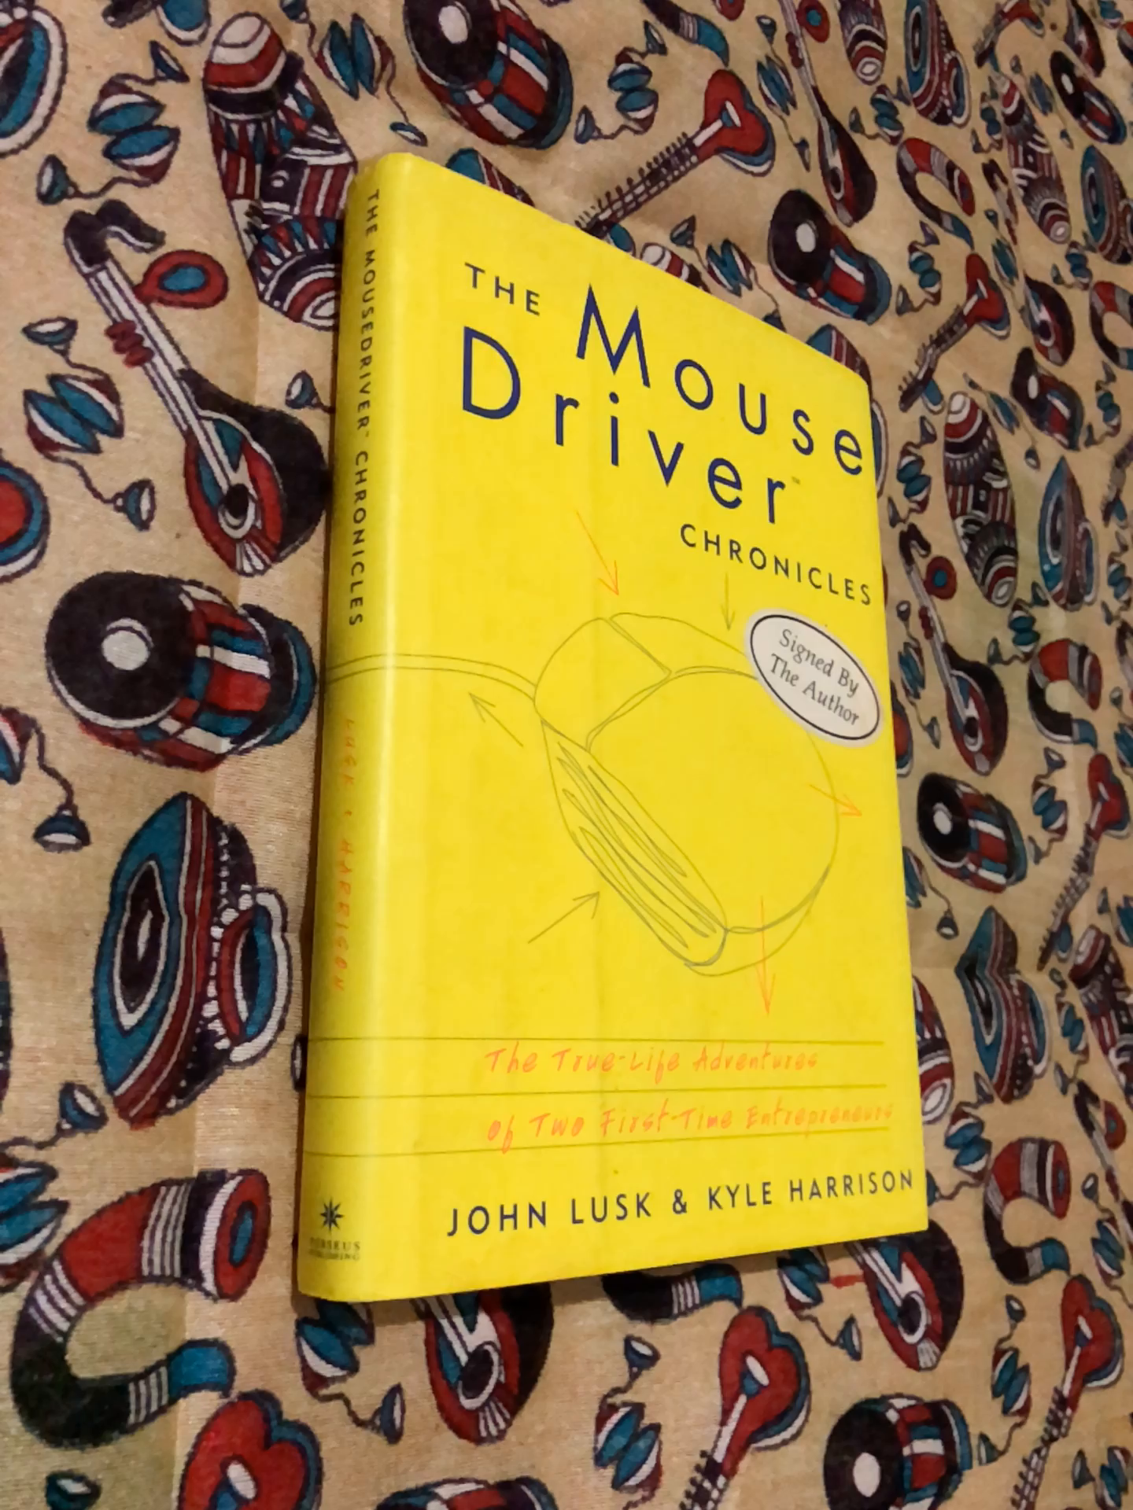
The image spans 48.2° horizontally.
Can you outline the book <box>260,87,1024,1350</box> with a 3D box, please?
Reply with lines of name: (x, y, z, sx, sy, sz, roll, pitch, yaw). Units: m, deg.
book: (0.020, -0.005, 0.273, 0.161, 0.040, 0.220, 11, 68, -38)
